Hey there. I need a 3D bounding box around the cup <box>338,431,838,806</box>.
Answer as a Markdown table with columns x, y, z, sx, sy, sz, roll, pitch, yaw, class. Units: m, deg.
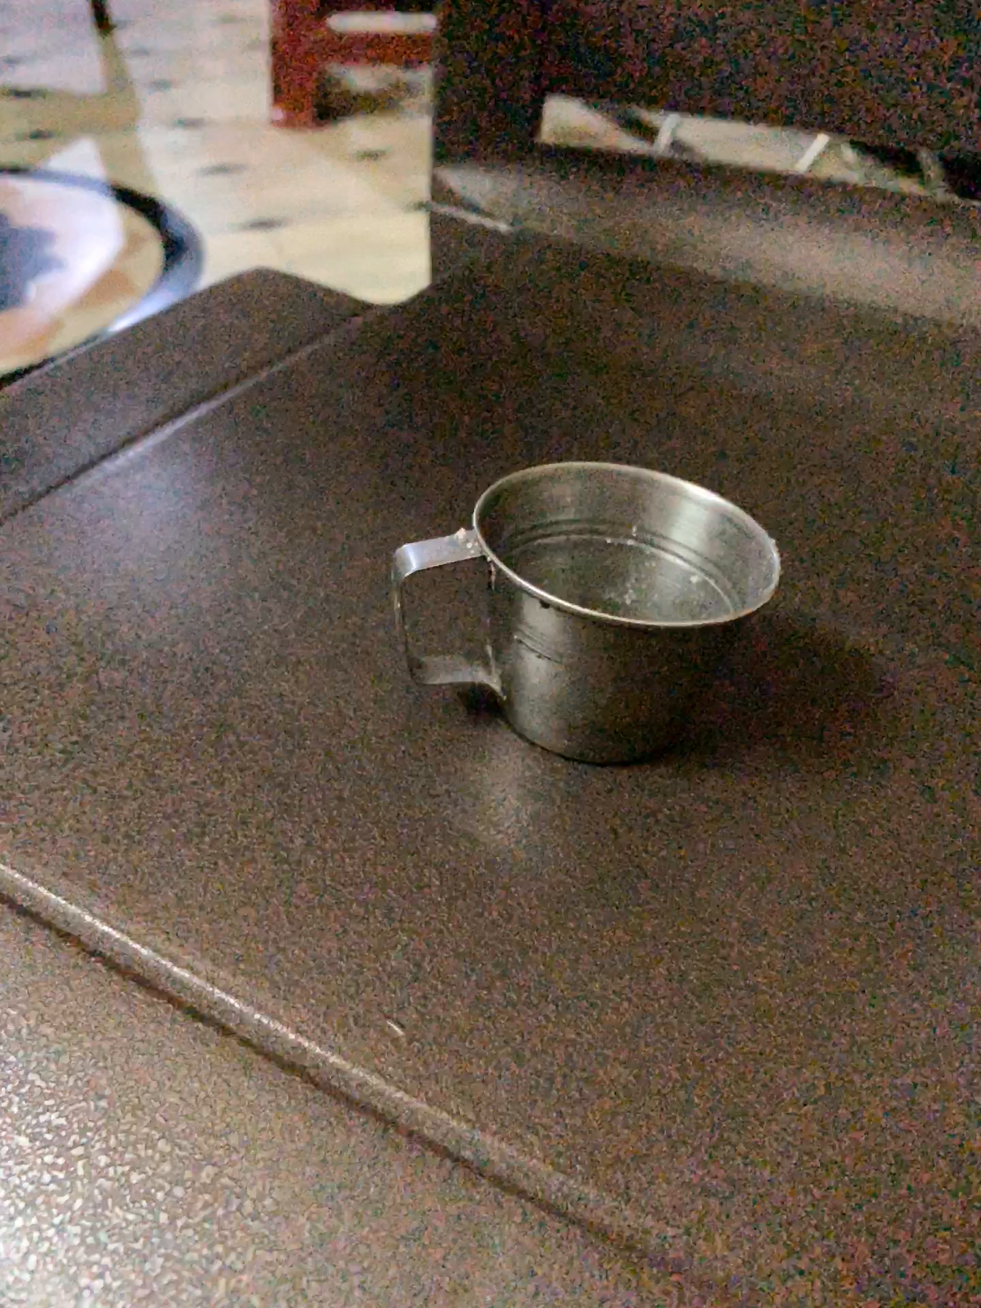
| x | y | z | sx | sy | sz | roll | pitch | yaw | class |
| --- | --- | --- | --- | --- | --- | --- | --- | --- | --- |
| 0.013 | -0.010 | 0.205 | 0.080 | 0.040 | 0.060 | -4 | 43 | -13 | cup |
